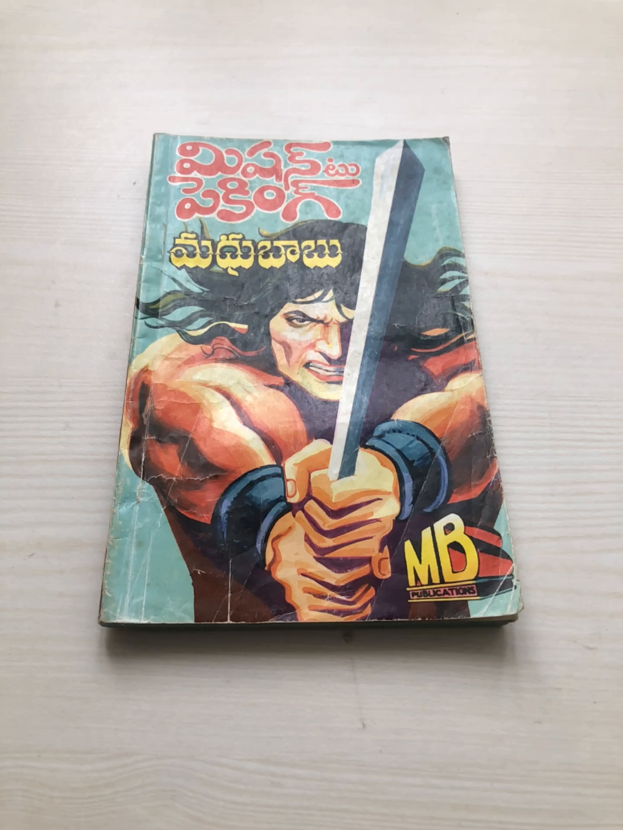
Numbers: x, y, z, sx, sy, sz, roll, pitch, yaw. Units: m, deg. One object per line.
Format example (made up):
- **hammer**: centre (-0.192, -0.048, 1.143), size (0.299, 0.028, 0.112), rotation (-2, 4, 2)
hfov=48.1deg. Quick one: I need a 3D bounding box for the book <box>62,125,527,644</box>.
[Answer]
- **book**: centre (-0.005, -0.017, 0.197), size (0.100, 0.030, 0.151), rotation (0, 63, -2)
